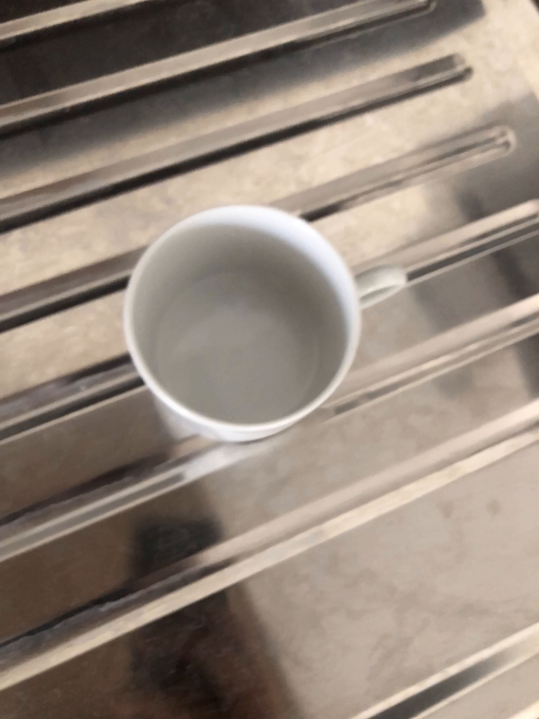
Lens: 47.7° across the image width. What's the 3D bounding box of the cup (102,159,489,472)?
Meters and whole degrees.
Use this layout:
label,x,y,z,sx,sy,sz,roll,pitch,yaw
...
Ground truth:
label,x,y,z,sx,sy,sz,roll,pitch,yaw
cup,0.006,-0.014,0.228,0.110,0.060,0.080,-13,77,-10
